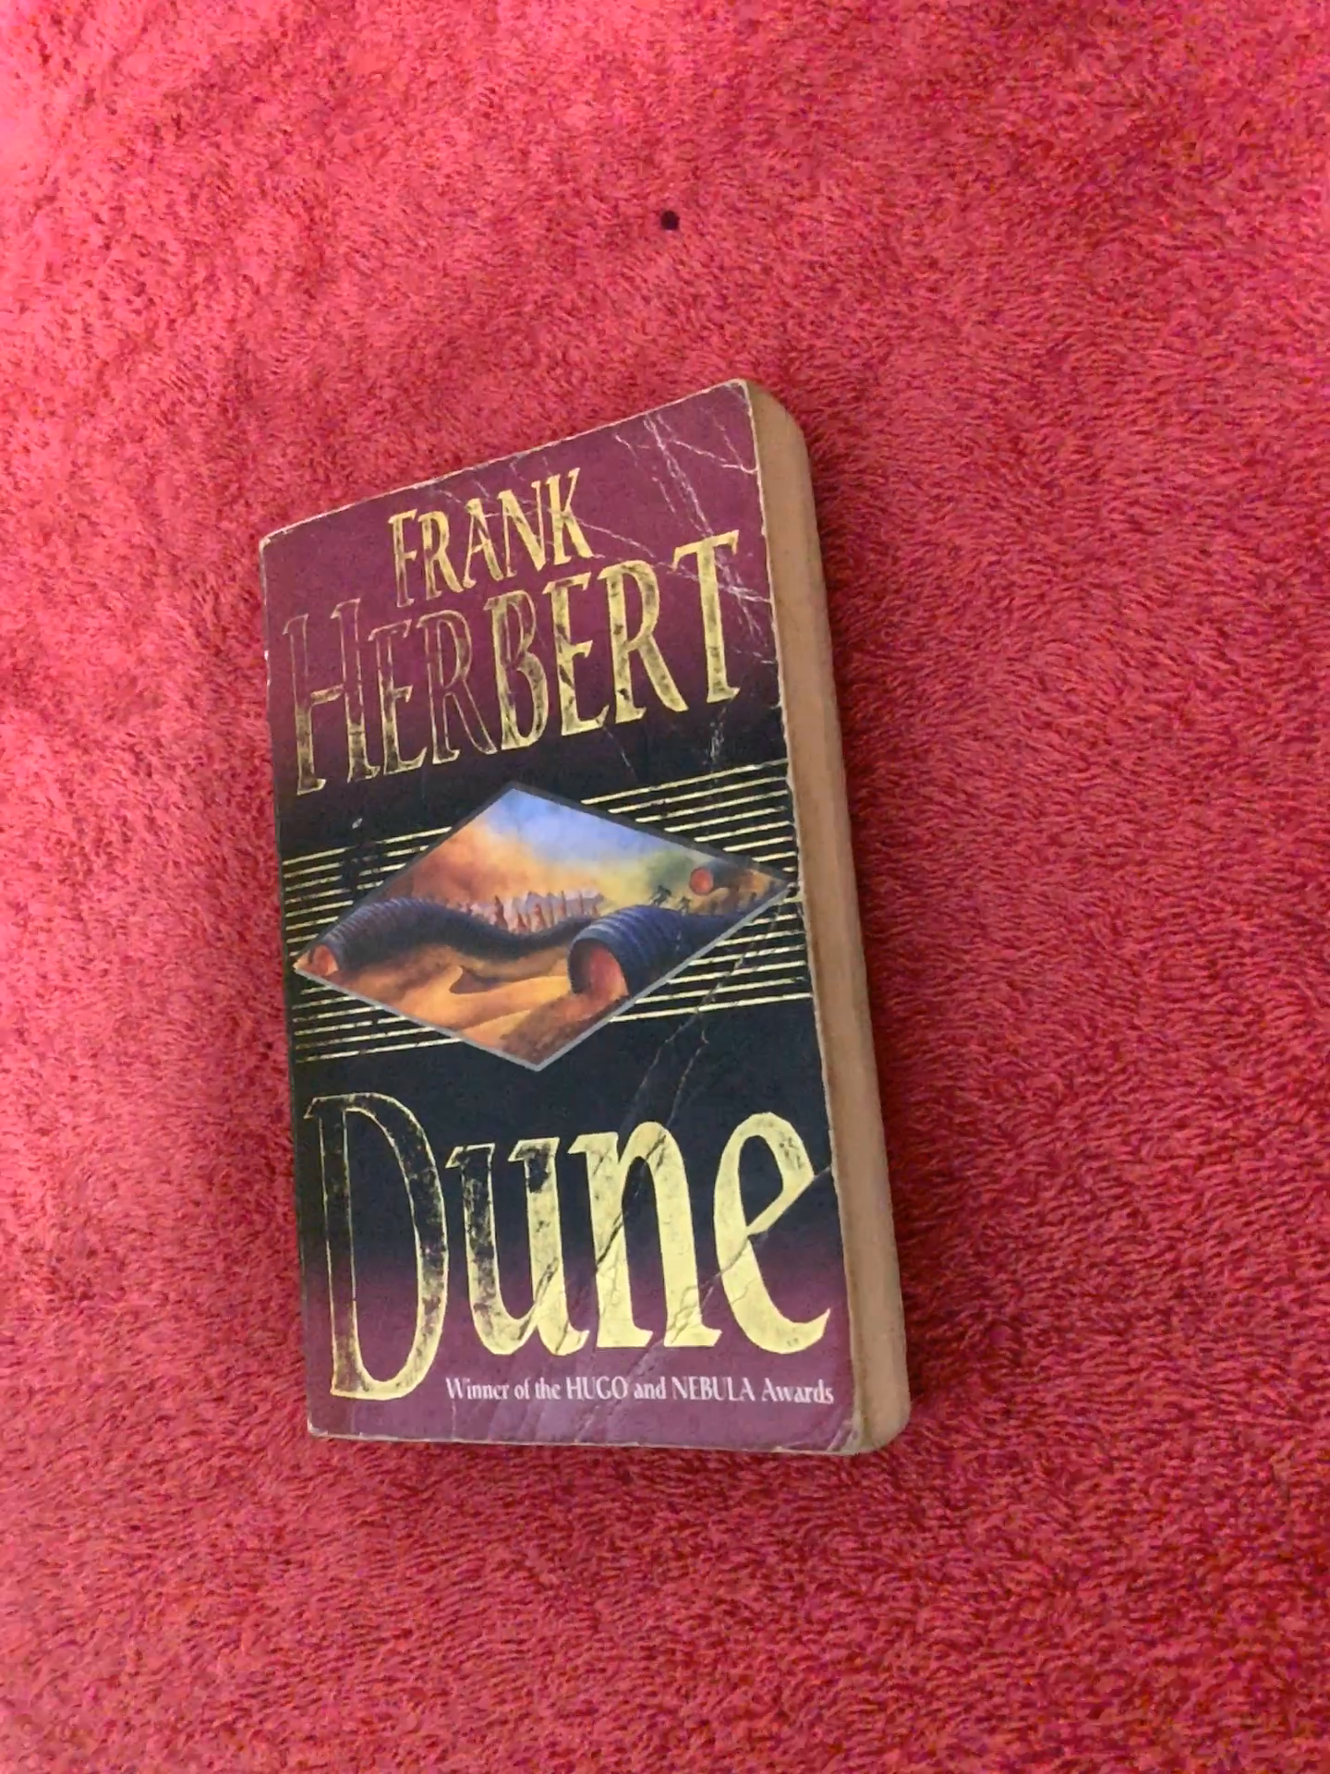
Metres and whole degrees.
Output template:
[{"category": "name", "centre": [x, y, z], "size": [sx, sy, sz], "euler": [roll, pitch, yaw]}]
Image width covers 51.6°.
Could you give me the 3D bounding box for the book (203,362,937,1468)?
[{"category": "book", "centre": [-0.023, 0.009, 0.245], "size": [0.114, 0.040, 0.165], "euler": [-10, 79, 27]}]
